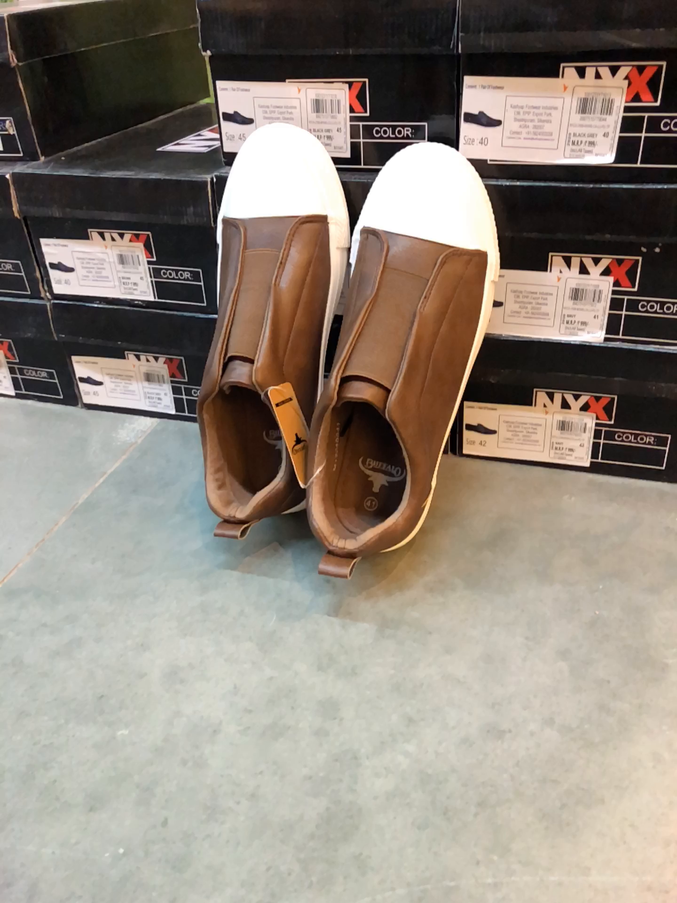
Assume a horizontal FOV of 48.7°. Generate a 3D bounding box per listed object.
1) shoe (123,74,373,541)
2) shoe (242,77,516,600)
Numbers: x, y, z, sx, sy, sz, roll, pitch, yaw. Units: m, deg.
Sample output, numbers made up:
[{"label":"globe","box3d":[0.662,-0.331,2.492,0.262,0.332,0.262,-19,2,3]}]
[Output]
[{"label":"shoe","box3d":[-0.052,-0.087,0.488,0.098,0.270,0.103,7,-2,16]},{"label":"shoe","box3d":[0.031,-0.063,0.444,0.096,0.272,0.100,9,-2,18]}]
